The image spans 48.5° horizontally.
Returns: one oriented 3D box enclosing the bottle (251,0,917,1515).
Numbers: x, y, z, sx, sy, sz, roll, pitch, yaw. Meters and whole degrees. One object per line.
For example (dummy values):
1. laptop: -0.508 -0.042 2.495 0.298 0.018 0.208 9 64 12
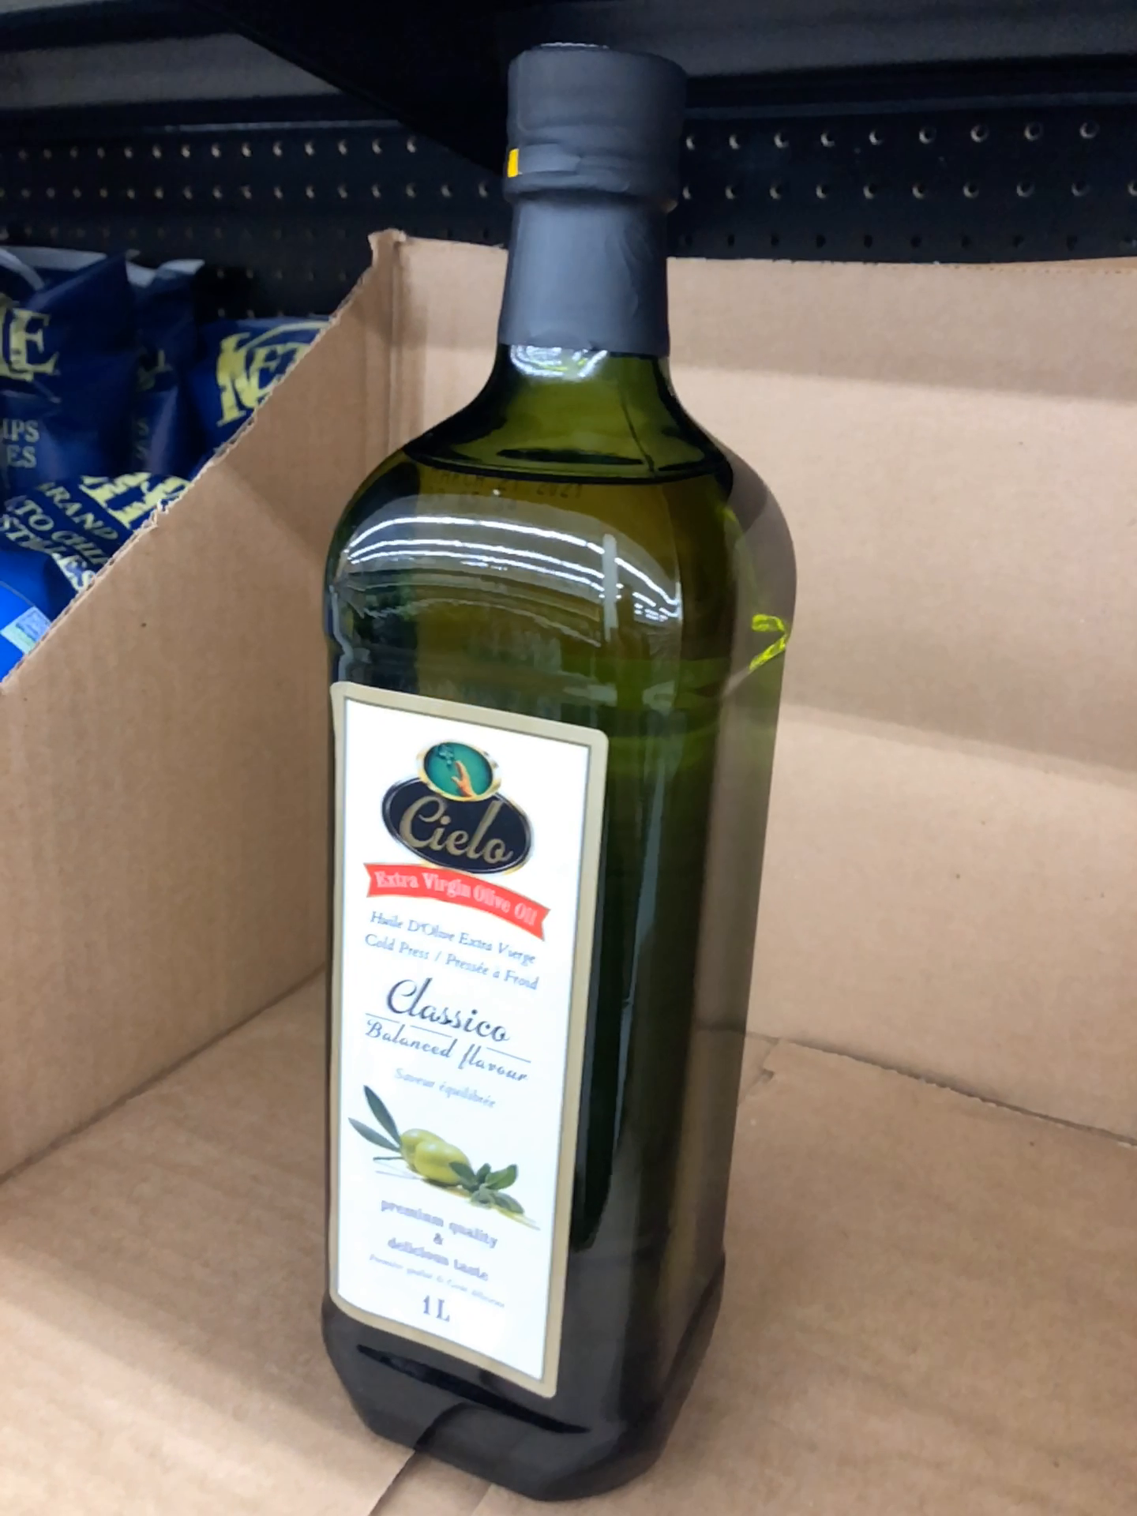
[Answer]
1. bottle: 0.002 0.009 0.263 0.090 0.288 0.080 10 20 23
